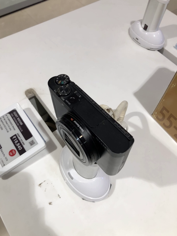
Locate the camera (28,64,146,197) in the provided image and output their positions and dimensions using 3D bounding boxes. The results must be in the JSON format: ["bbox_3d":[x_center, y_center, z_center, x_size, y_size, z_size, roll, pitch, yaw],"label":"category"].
[{"bbox_3d":[-0.007,0.013,0.186,0.030,0.070,0.110,-35,66,-20],"label":"camera"}]
